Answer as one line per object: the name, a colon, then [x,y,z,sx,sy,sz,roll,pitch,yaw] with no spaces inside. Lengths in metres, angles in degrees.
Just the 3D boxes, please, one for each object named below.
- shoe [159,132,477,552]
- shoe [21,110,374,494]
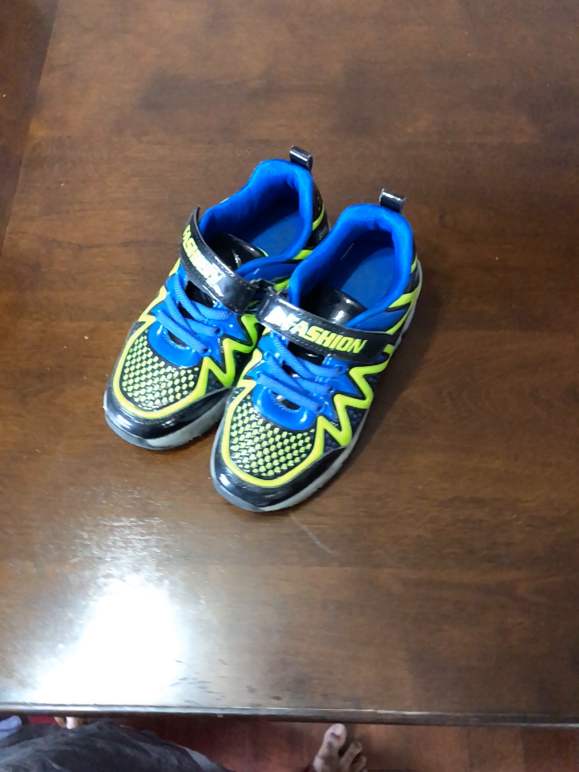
shoe: [0.024,-0.026,0.420,0.090,0.120,0.230,24,70,10]
shoe: [-0.048,-0.053,0.436,0.100,0.120,0.210,33,72,13]
